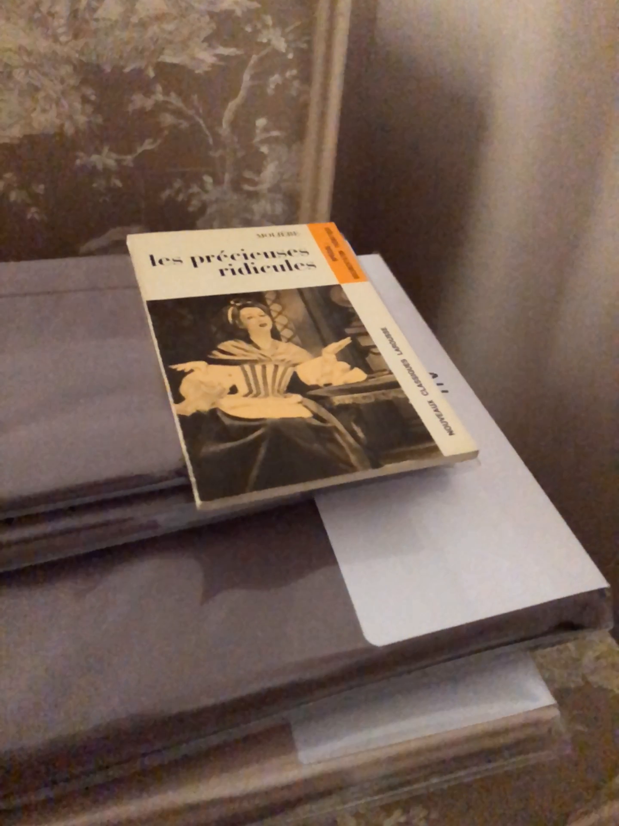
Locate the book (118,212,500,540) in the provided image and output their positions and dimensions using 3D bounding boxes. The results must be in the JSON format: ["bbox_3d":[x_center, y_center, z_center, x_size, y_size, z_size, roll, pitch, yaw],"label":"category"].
[{"bbox_3d":[-0.013,-0.034,0.313,0.120,0.020,0.181,-10,47,-17],"label":"book"}]
